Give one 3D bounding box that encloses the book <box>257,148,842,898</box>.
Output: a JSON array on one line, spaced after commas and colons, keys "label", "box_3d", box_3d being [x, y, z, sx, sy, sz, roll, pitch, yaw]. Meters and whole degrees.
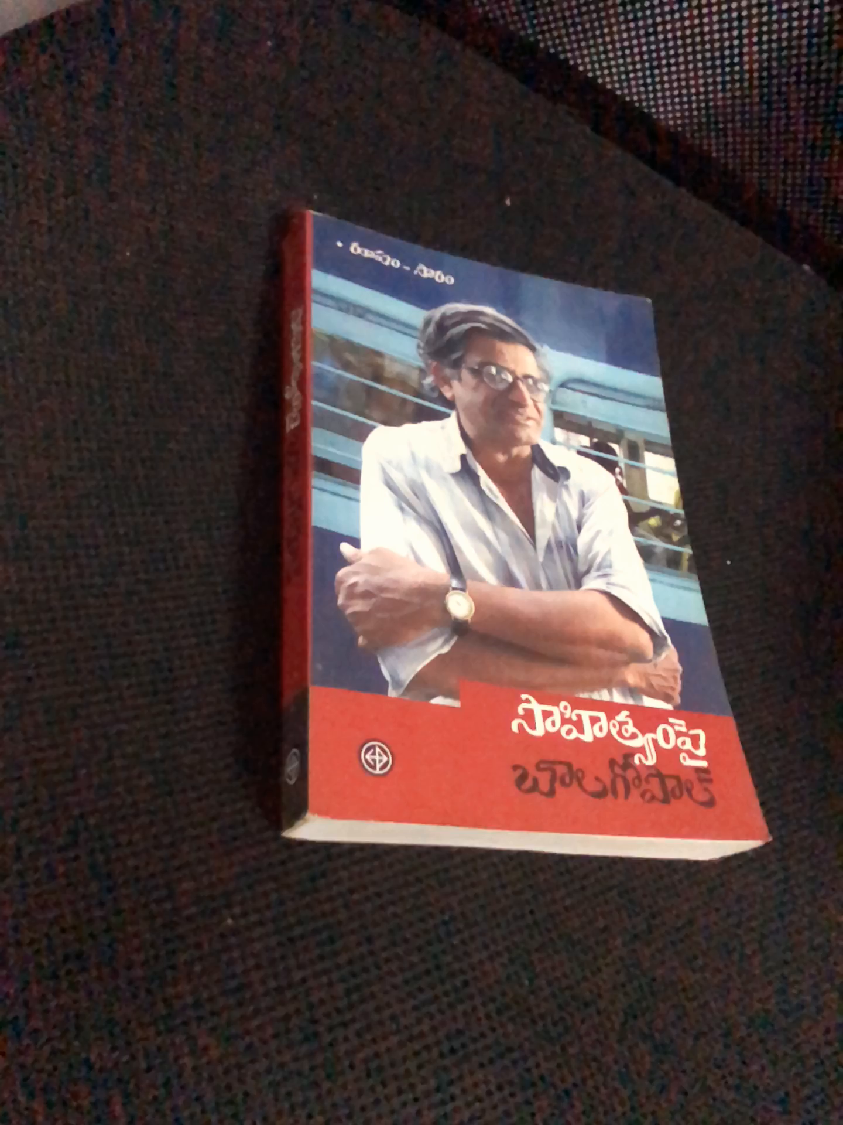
[{"label": "book", "box_3d": [0.031, -0.018, 0.289, 0.152, 0.030, 0.225, 10, 57, -23]}]
